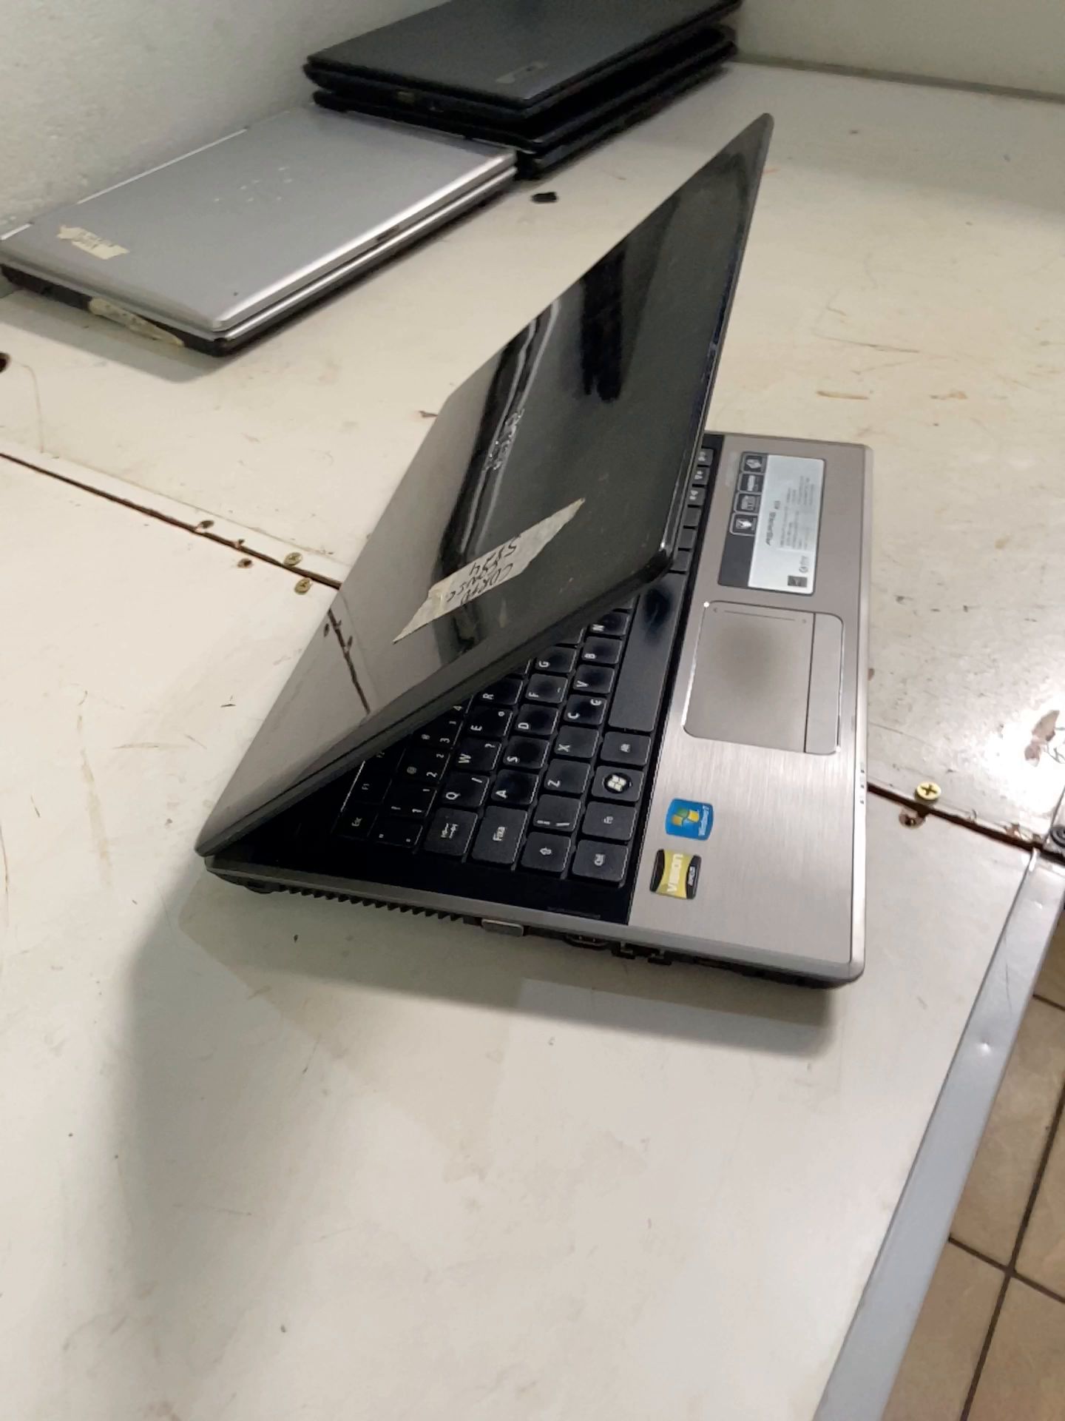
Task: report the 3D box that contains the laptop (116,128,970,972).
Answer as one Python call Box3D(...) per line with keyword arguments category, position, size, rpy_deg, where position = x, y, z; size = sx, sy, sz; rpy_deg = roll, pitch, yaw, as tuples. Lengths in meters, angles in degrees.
Box3D(category="laptop", position=(0.032, -0.099, 0.455), size=(0.226, 0.157, 0.336), rpy_deg=(7, 45, 10))
